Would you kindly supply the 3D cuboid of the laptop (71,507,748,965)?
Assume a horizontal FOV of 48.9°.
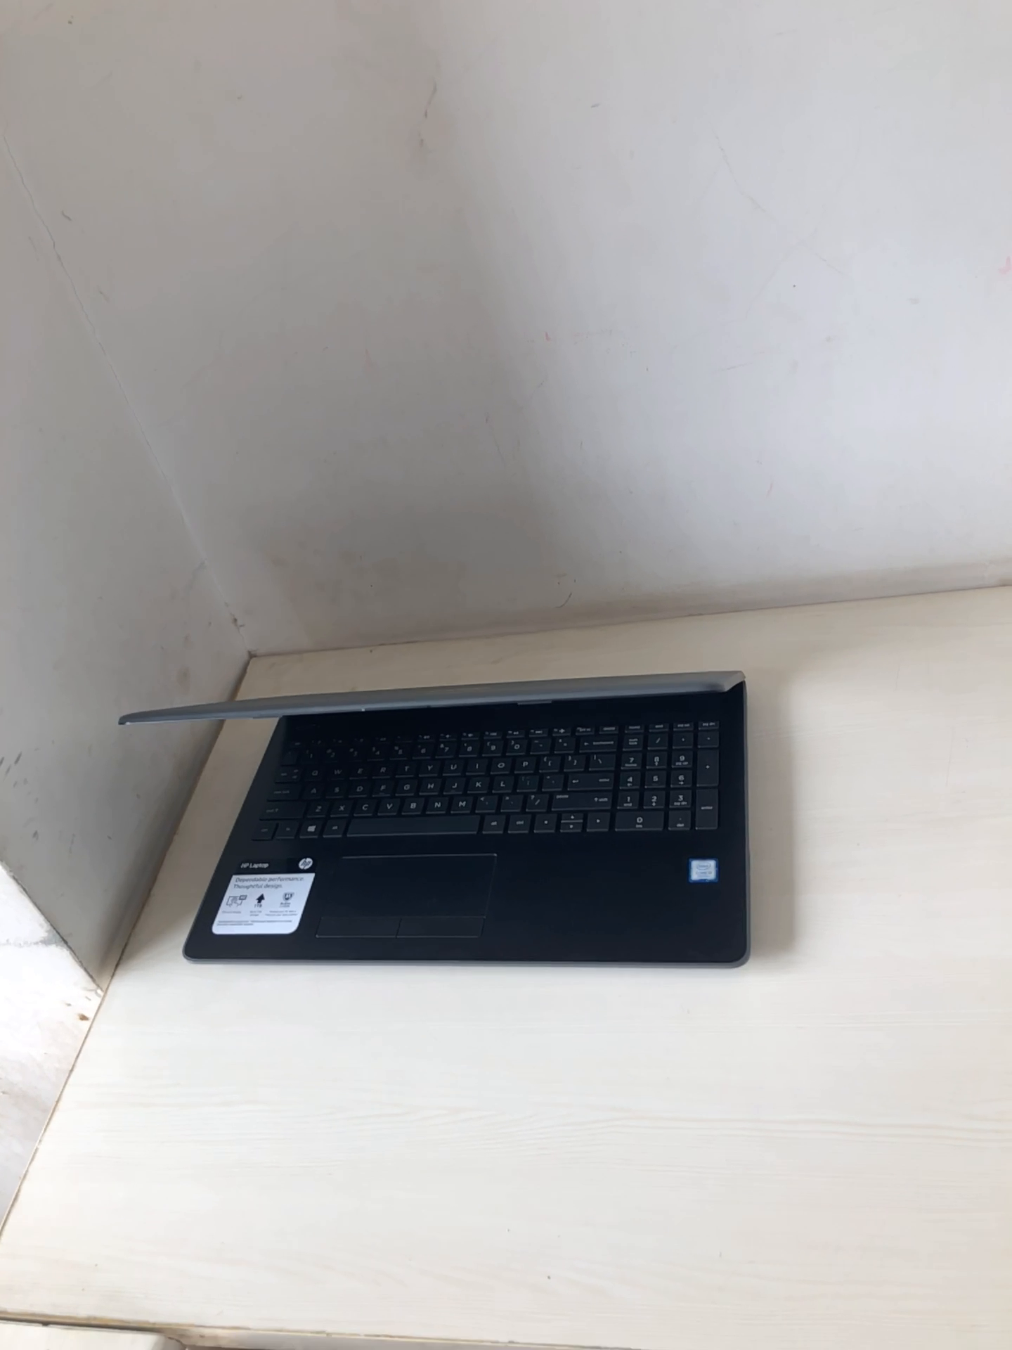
[{"bbox_3d":[-0.036,0.036,0.720,0.356,0.157,0.245,-3,40,13],"label":"laptop"}]
